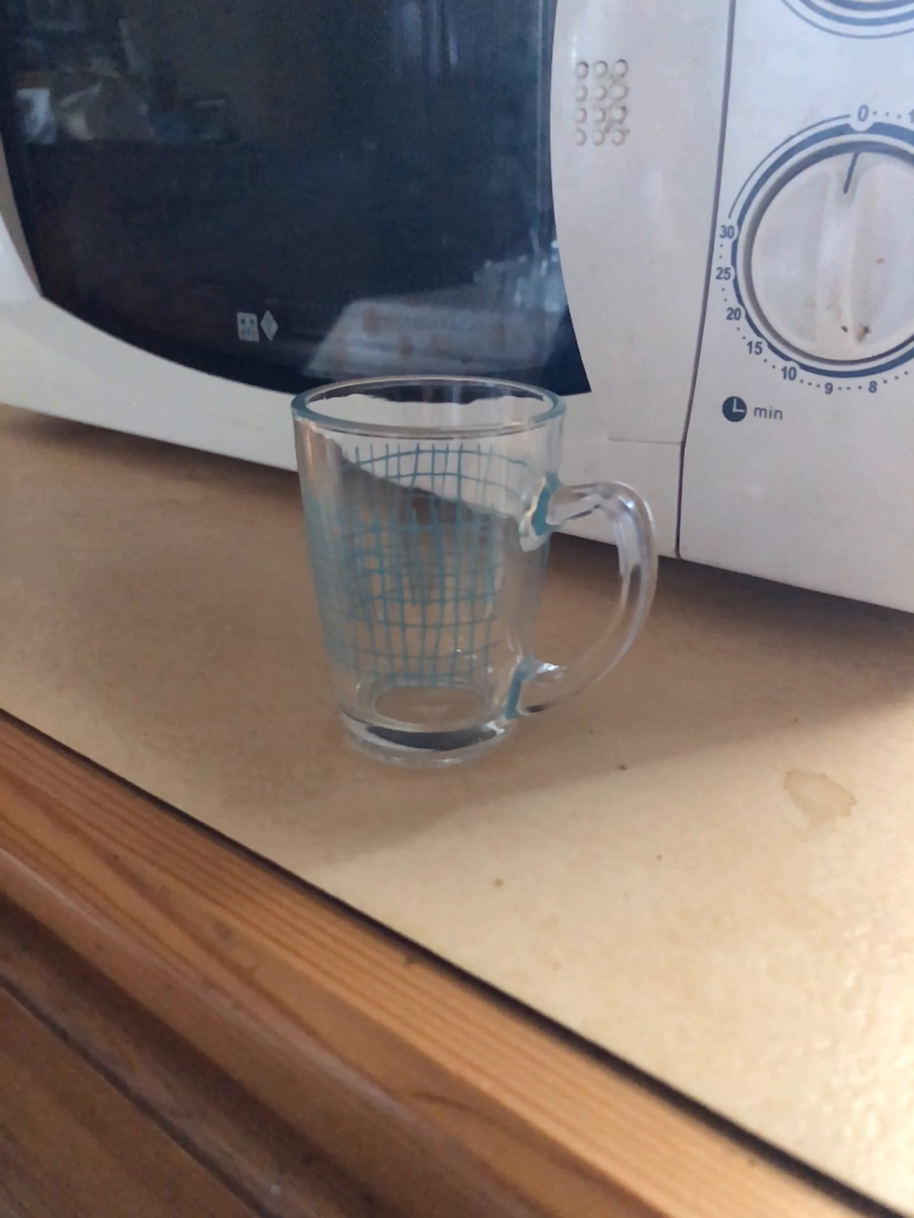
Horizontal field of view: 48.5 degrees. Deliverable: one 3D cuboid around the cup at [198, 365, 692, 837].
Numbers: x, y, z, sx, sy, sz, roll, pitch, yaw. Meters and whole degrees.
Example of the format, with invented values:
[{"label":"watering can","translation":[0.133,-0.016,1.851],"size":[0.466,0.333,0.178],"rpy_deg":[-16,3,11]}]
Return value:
[{"label":"cup","translation":[-0.002,-0.009,0.219],"size":[0.080,0.070,0.060],"rpy_deg":[16,28,33]}]
